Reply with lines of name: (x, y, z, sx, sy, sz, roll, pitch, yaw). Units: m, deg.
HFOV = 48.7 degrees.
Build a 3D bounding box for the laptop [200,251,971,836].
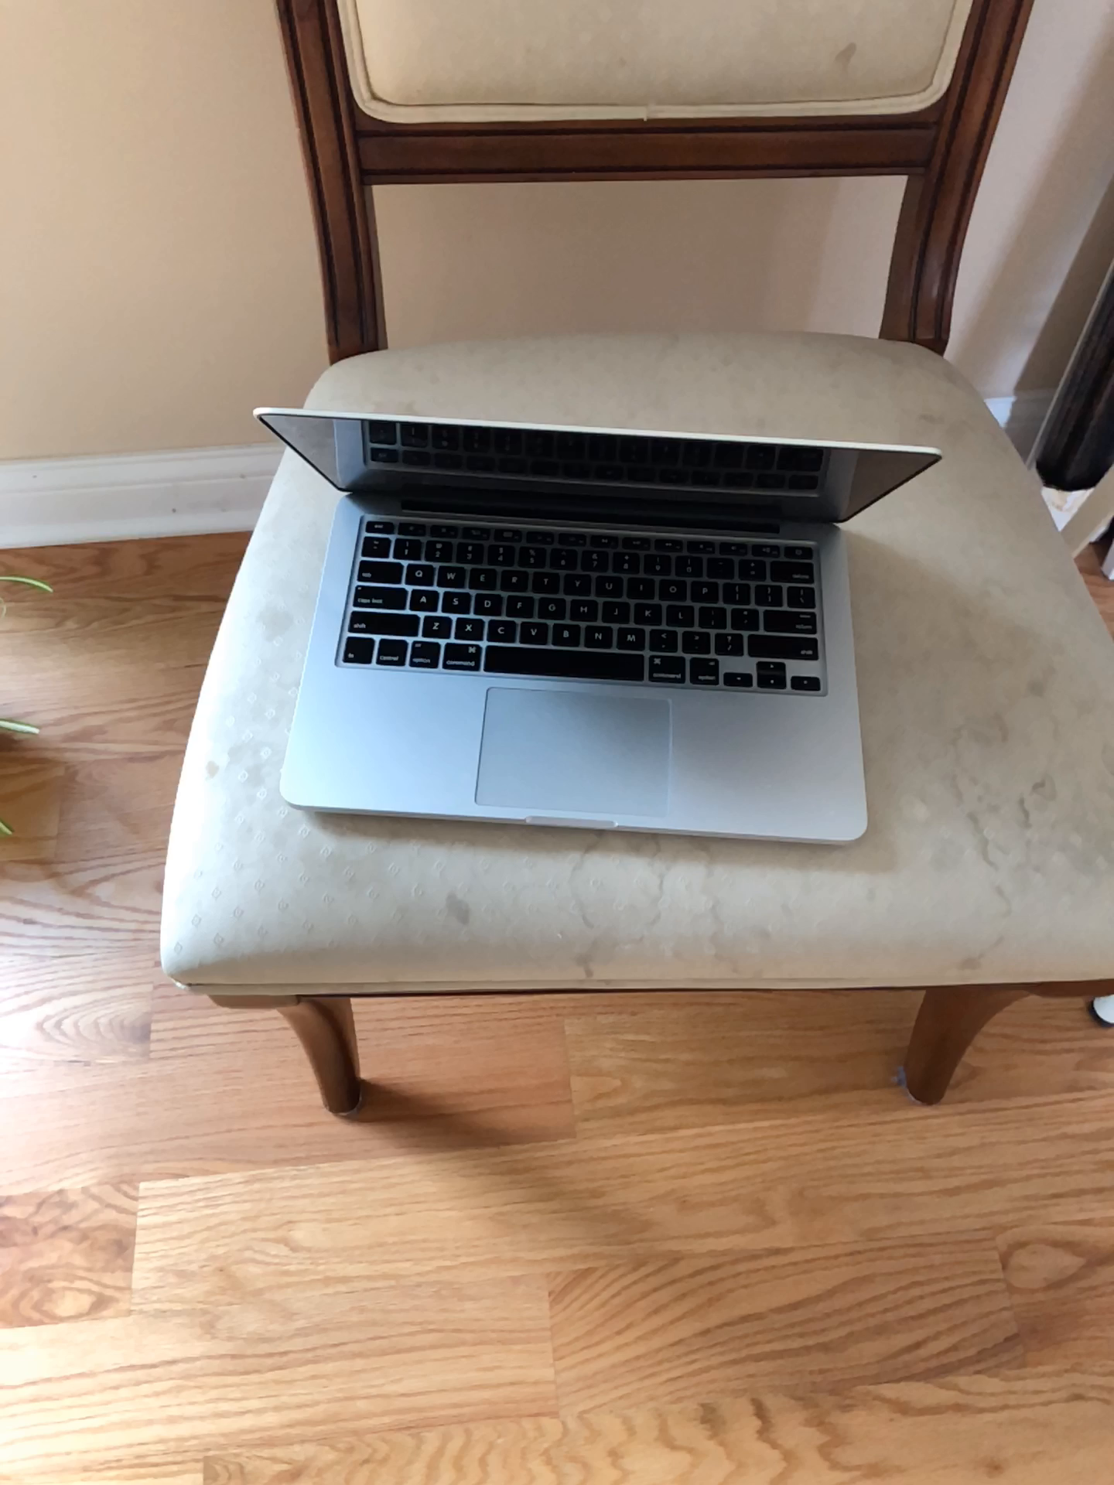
laptop: (0.015, -0.098, 0.630, 0.309, 0.183, 0.219, 3, 58, 1)
